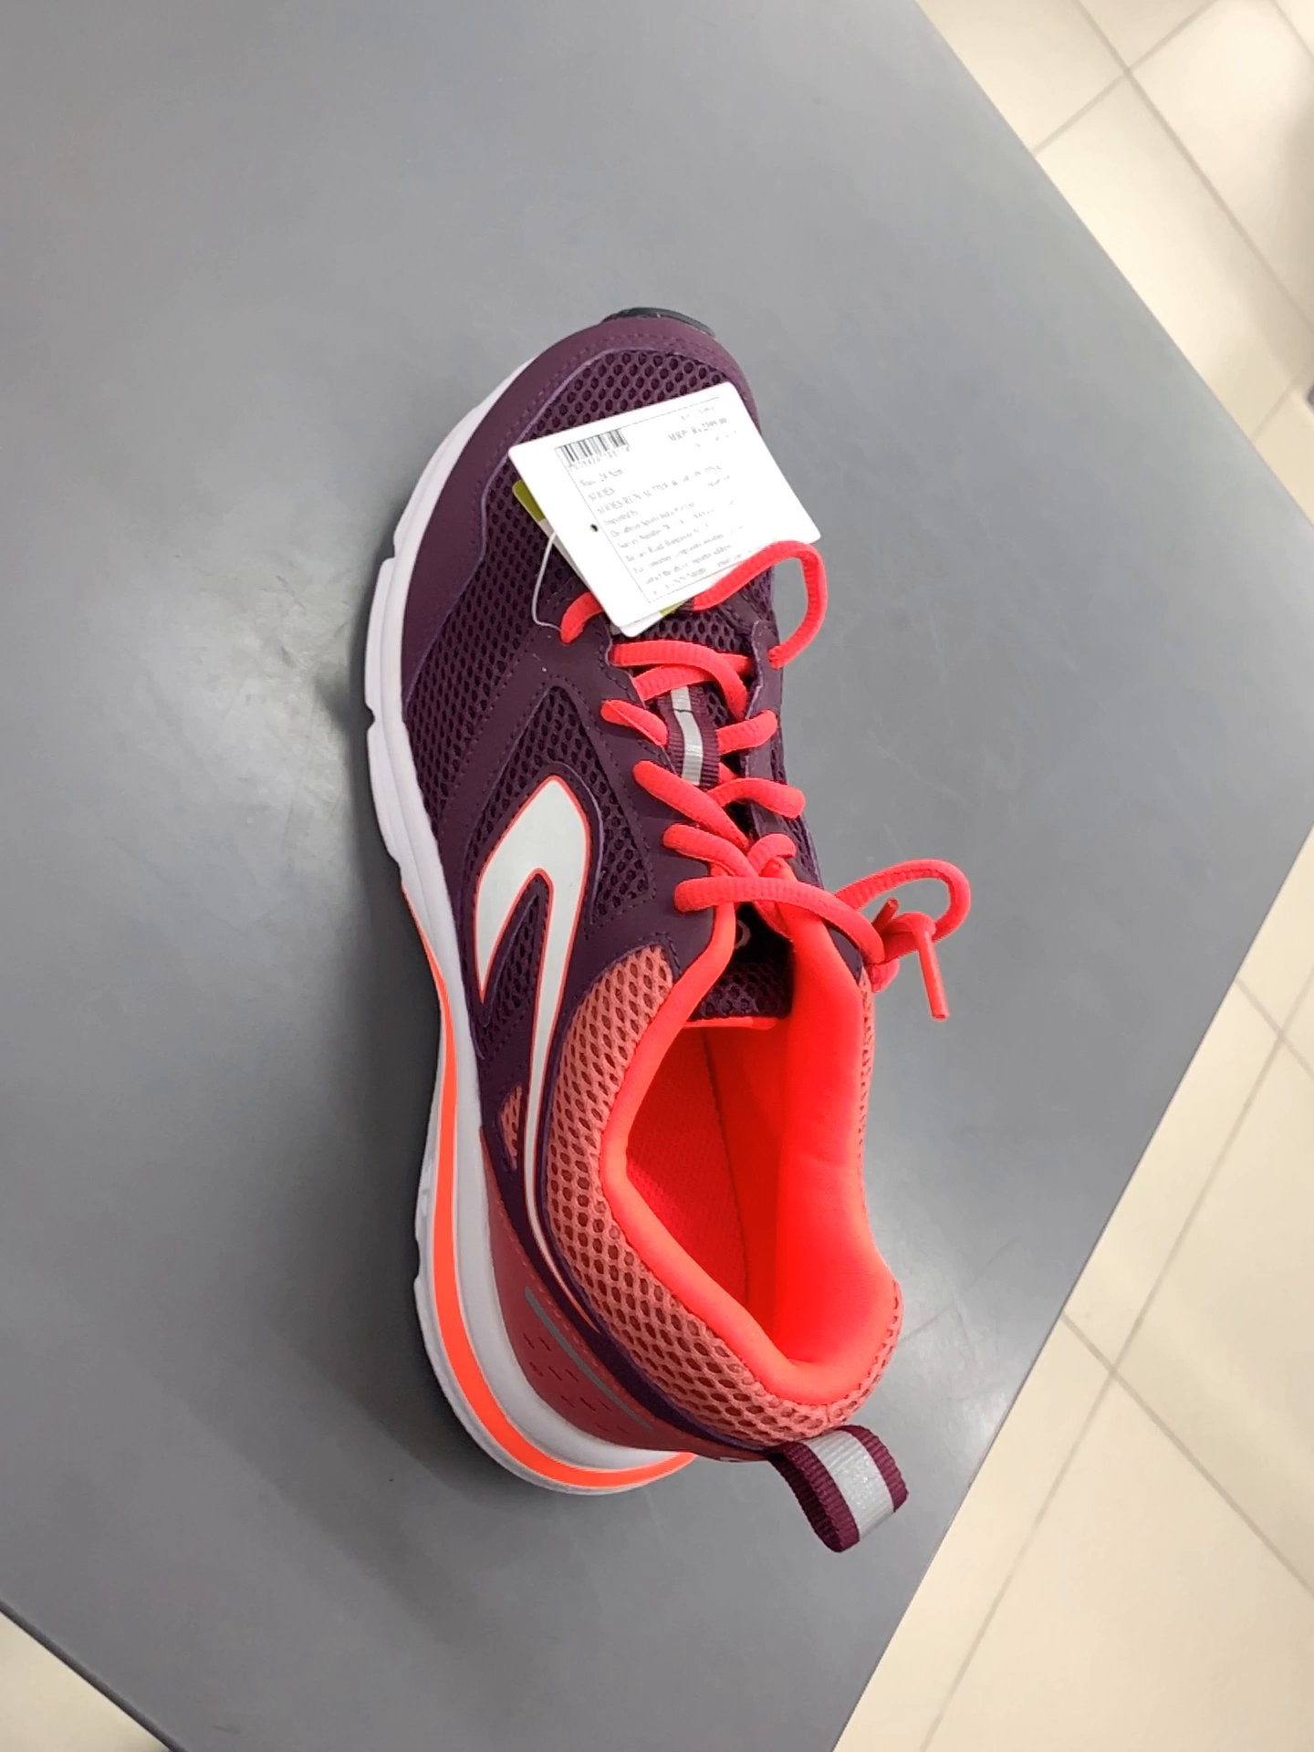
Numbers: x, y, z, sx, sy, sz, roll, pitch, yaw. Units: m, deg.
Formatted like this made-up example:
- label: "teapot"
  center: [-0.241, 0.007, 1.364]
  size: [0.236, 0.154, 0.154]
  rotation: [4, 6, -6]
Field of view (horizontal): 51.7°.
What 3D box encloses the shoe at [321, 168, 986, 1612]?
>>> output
- label: "shoe"
  center: [-0.013, 0.000, 0.325]
  size: [0.110, 0.100, 0.280]
  rotation: [4, 75, -29]
